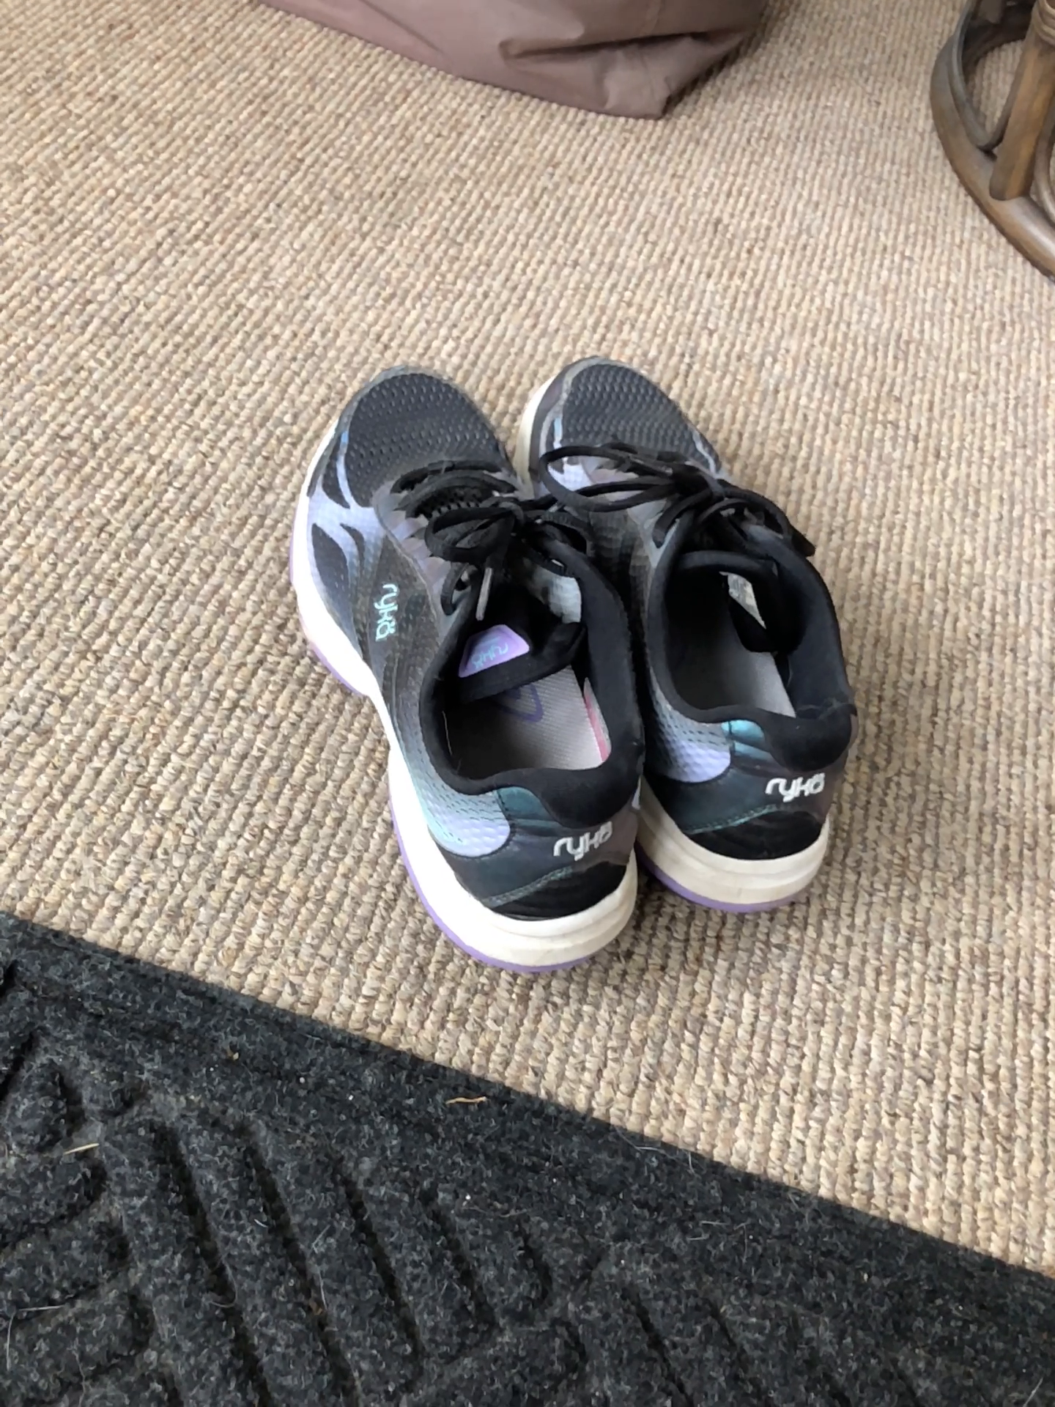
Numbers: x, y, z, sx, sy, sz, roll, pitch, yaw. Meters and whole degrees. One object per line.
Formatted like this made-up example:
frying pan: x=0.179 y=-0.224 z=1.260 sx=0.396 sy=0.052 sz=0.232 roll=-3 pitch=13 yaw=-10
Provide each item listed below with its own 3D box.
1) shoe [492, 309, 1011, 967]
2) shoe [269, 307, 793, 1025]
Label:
shoe: x=0.074 y=-0.038 z=0.490 sx=0.103 sy=0.103 sz=0.257 roll=-5 pitch=57 yaw=-19
shoe: x=-0.018 y=-0.028 z=0.456 sx=0.110 sy=0.103 sz=0.257 roll=-8 pitch=58 yaw=-21
